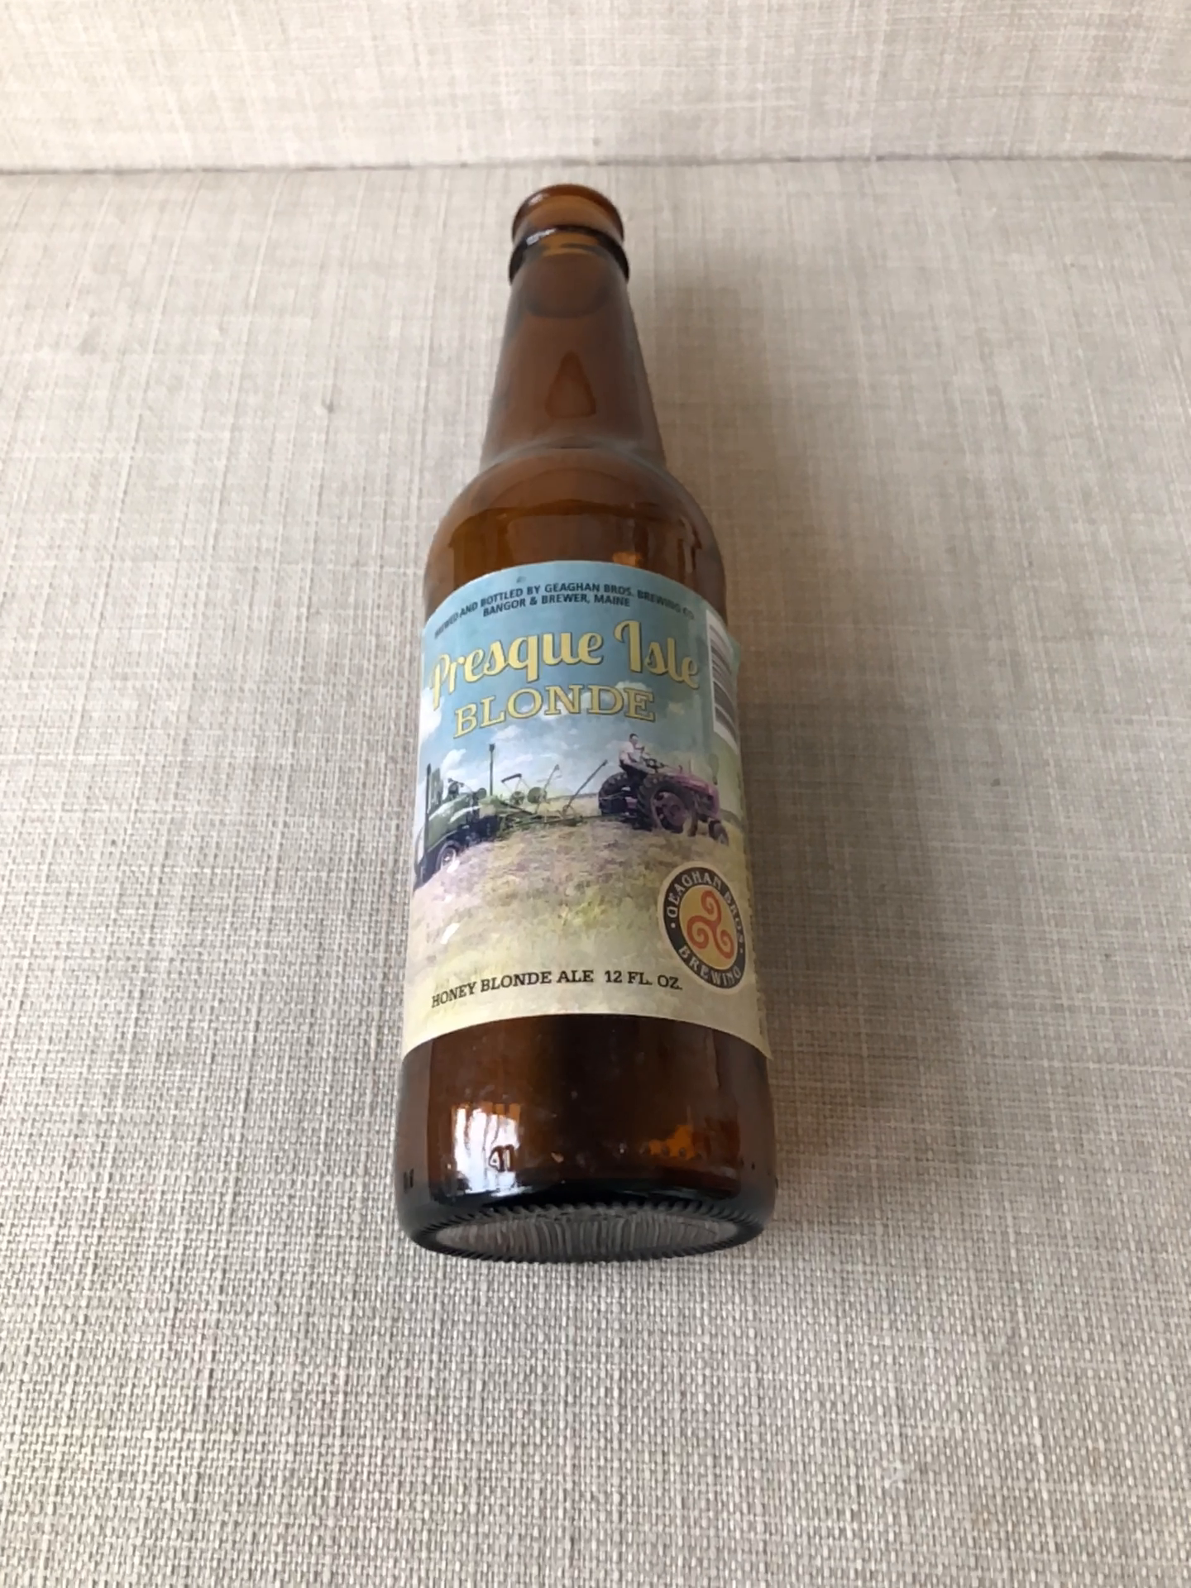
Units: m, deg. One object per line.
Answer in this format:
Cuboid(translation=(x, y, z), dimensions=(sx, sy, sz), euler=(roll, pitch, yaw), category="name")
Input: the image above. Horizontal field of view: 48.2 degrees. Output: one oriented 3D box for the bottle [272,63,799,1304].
Cuboid(translation=(-0.006, -0.031, 0.252), dimensions=(0.065, 0.060, 0.231), euler=(-6, 62, 11), category="bottle")
